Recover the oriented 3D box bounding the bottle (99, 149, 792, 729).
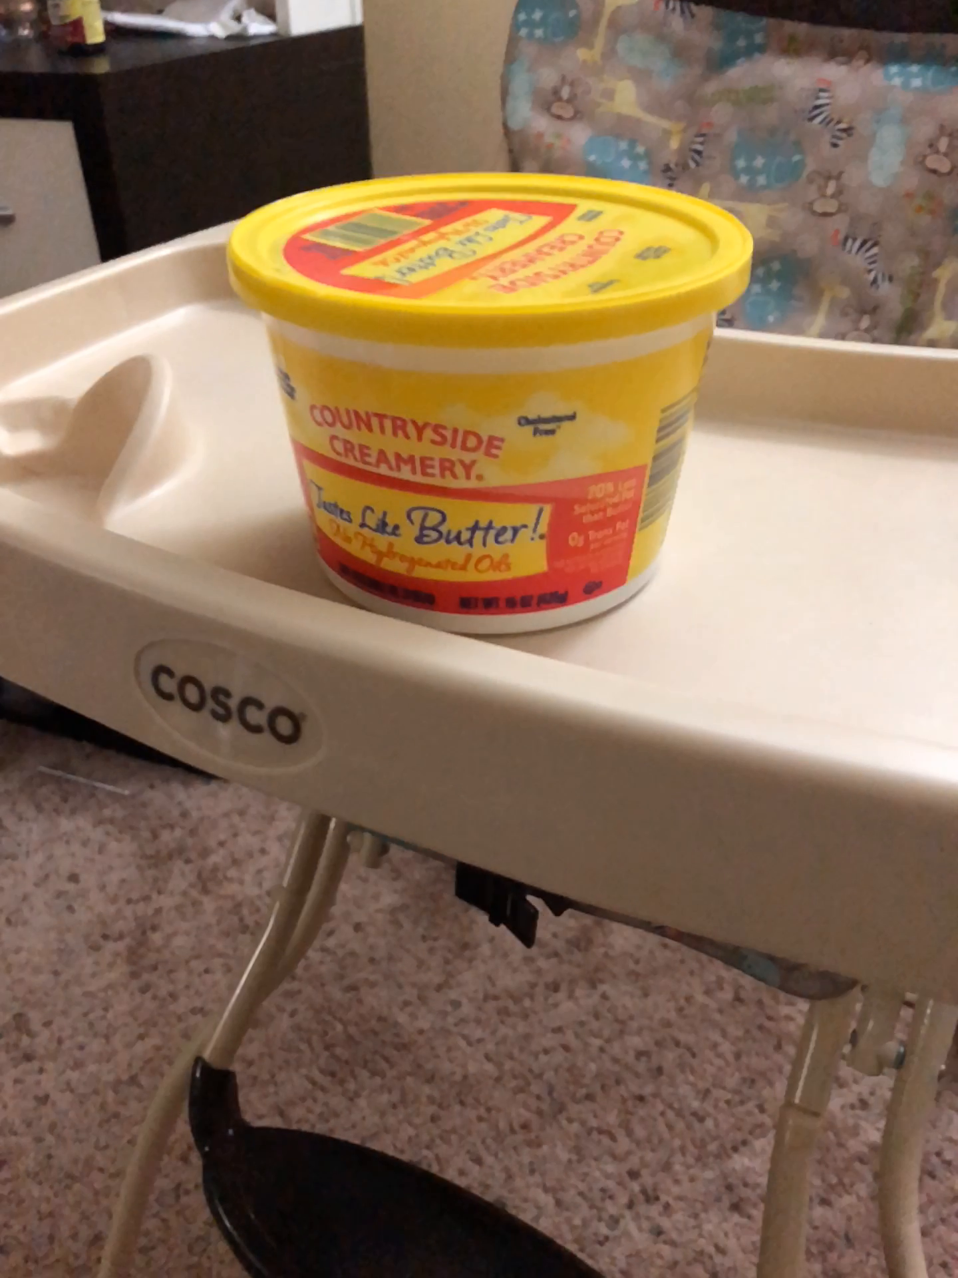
[{"bbox_3d":[-0.003,-0.062,0.272,0.120,0.090,0.110,0,35,0],"label":"bottle"}]
